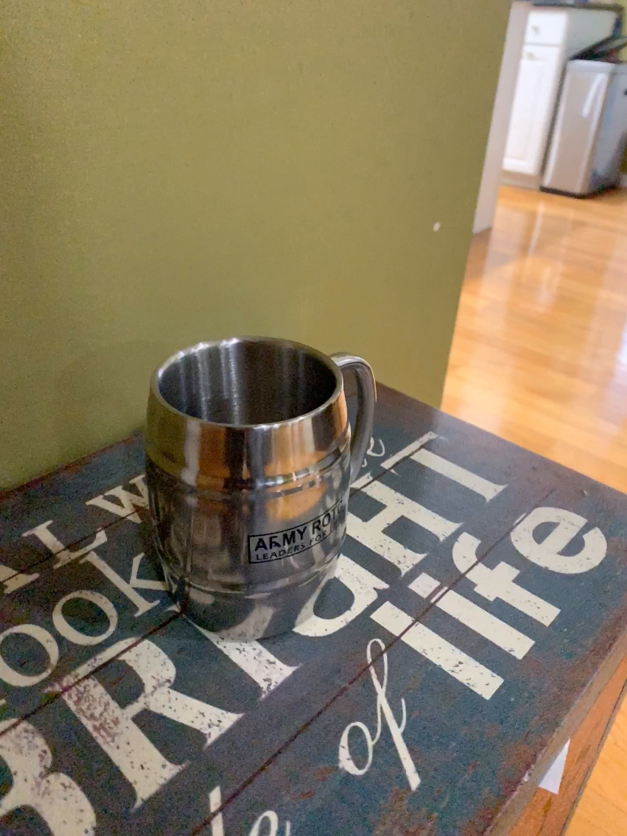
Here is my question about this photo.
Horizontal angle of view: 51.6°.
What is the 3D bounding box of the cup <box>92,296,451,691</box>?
[{"bbox_3d":[-0.015,0.025,0.308,0.089,0.113,0.129,27,39,34],"label":"cup"}]
